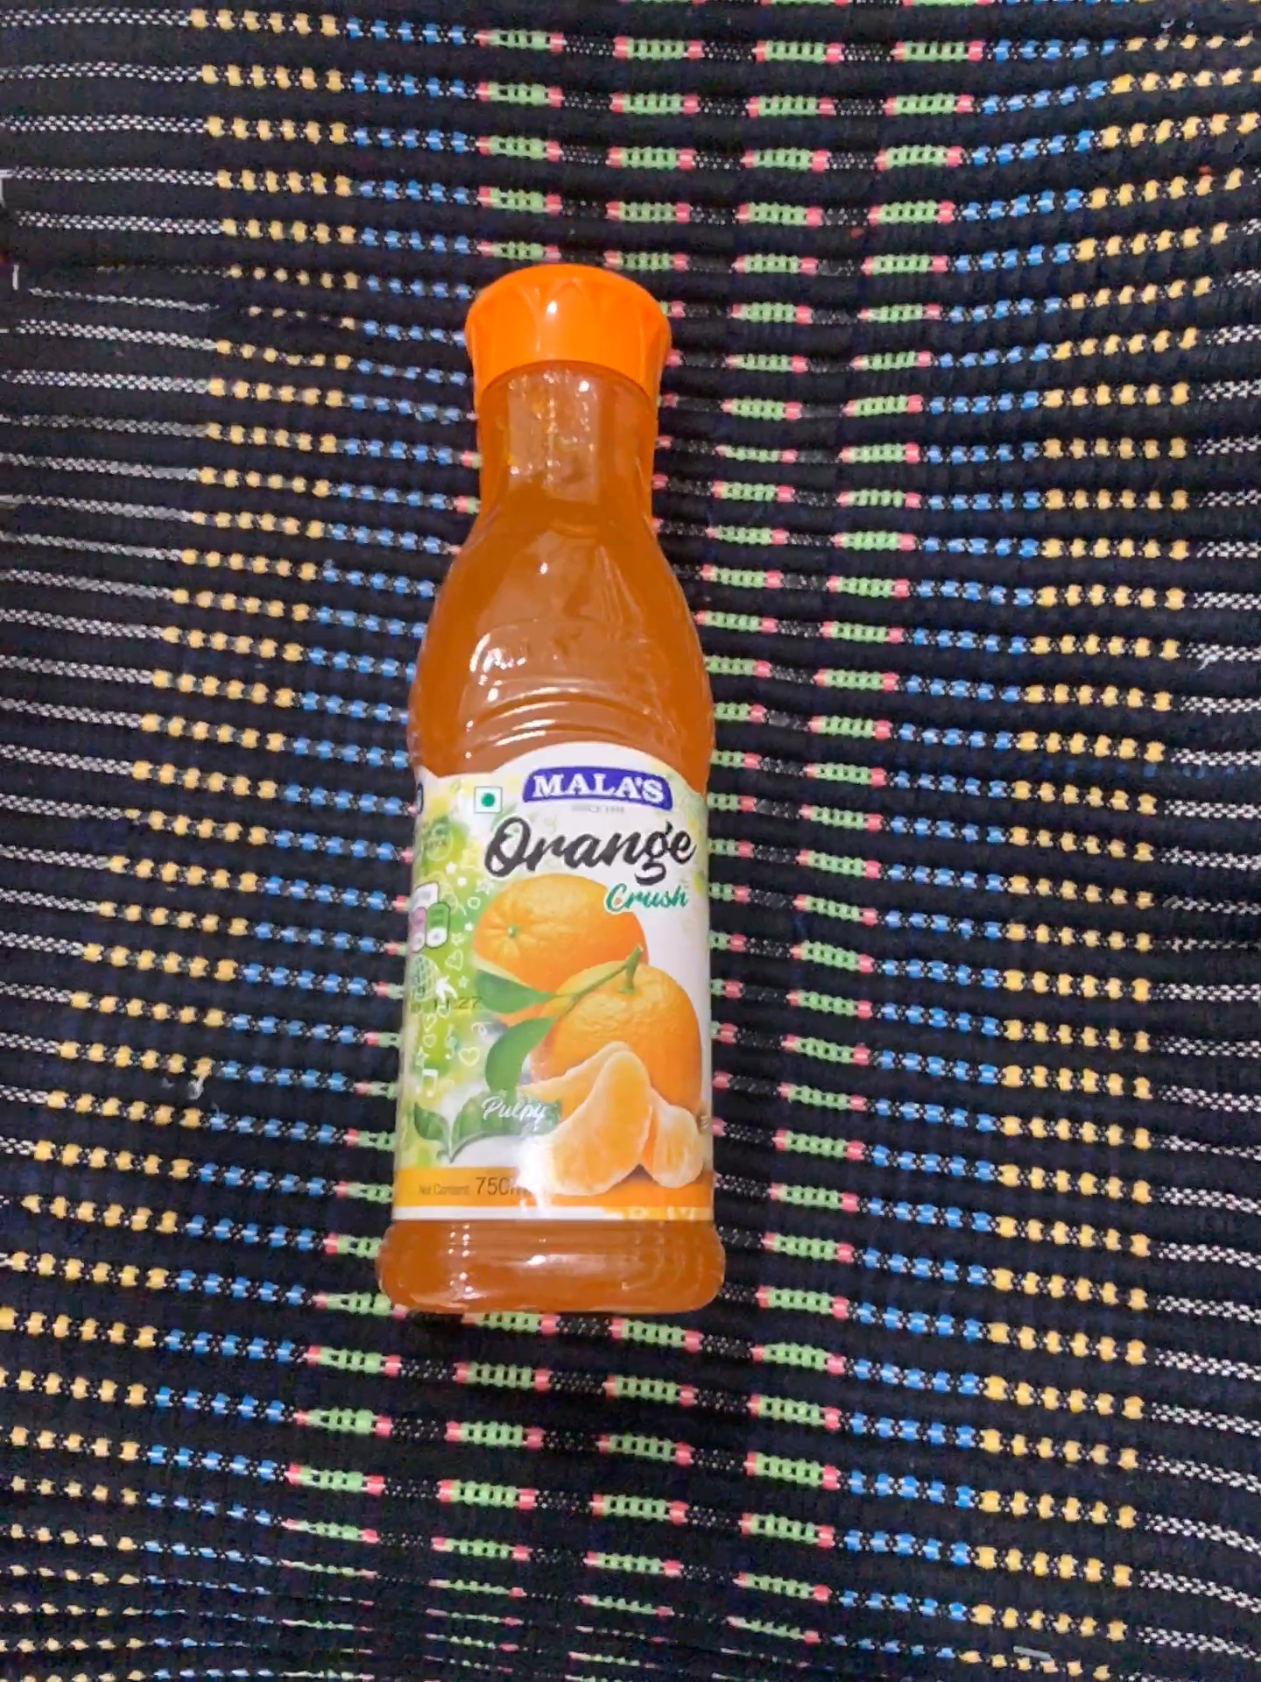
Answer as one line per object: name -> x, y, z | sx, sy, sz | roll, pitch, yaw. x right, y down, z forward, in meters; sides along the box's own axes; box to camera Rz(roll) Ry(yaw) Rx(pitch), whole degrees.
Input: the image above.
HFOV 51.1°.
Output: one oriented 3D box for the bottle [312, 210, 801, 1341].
bottle -> -0.013, -0.013, 0.286 | 0.080, 0.080, 0.220 | 4, 72, -7
